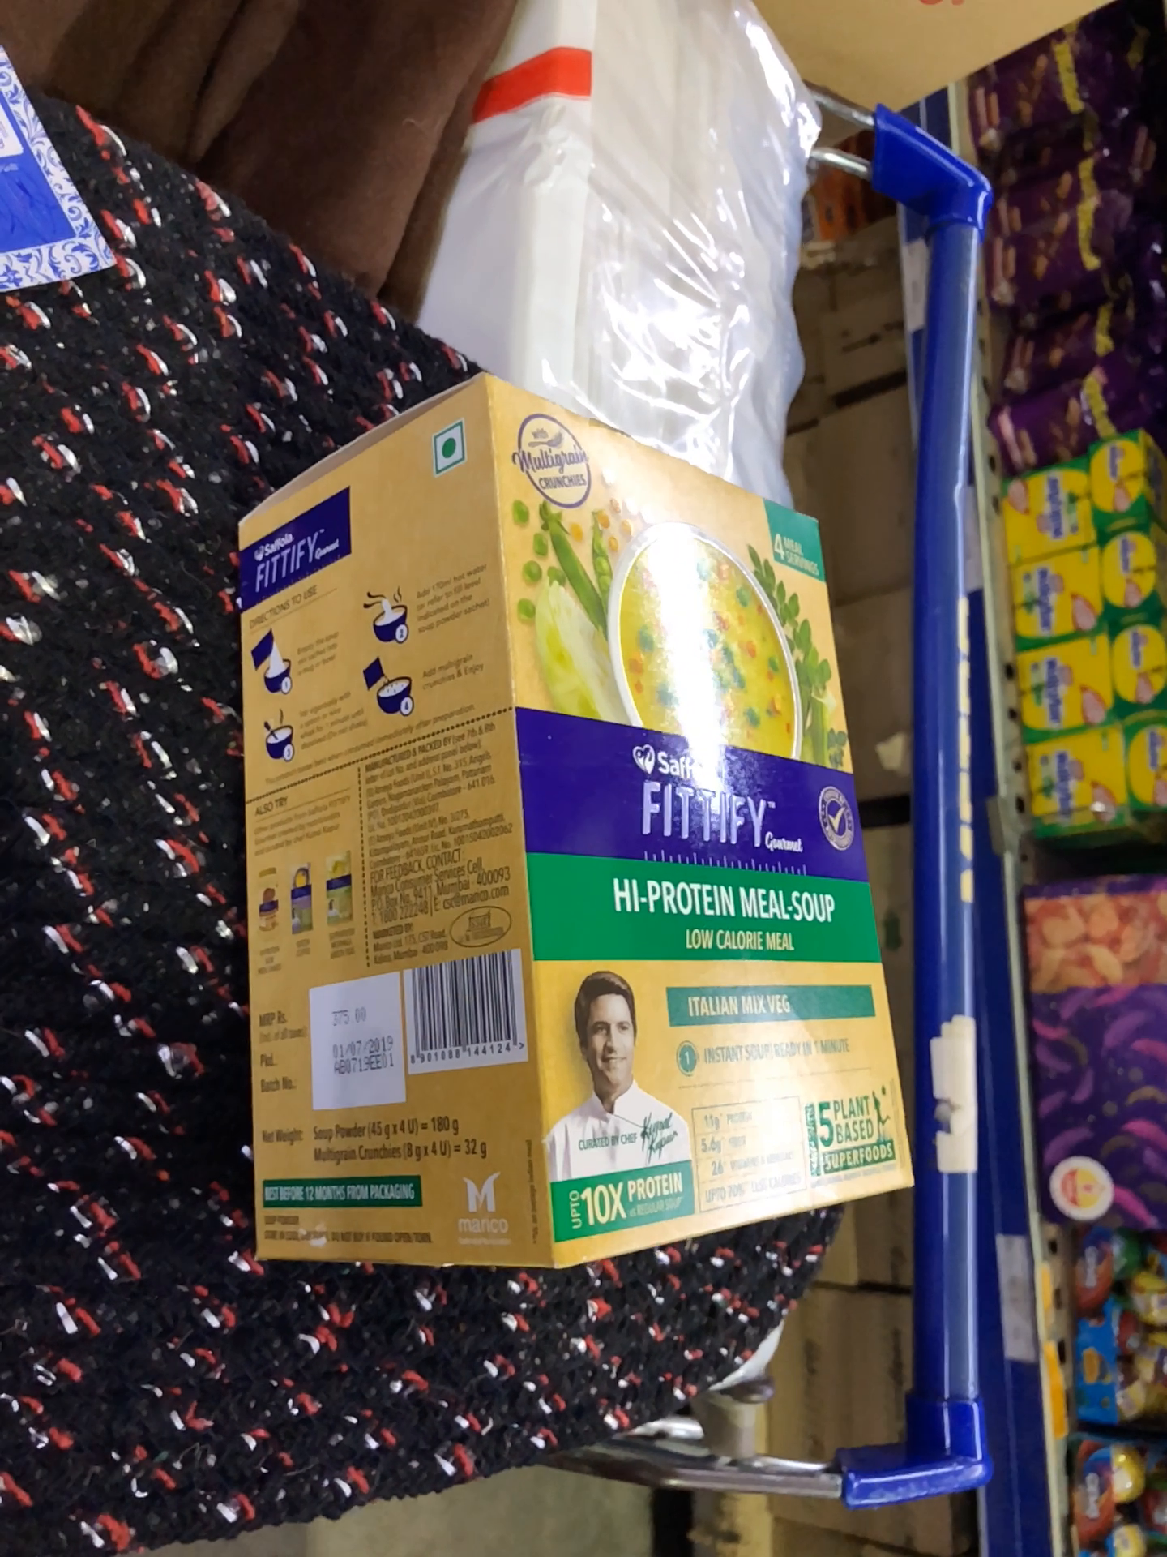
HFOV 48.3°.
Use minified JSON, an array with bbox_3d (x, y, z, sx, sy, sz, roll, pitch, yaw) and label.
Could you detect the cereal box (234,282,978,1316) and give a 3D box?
[{"bbox_3d":[0.005,0.011,0.282,0.131,0.080,0.170,9,71,-46],"label":"cereal box"}]
